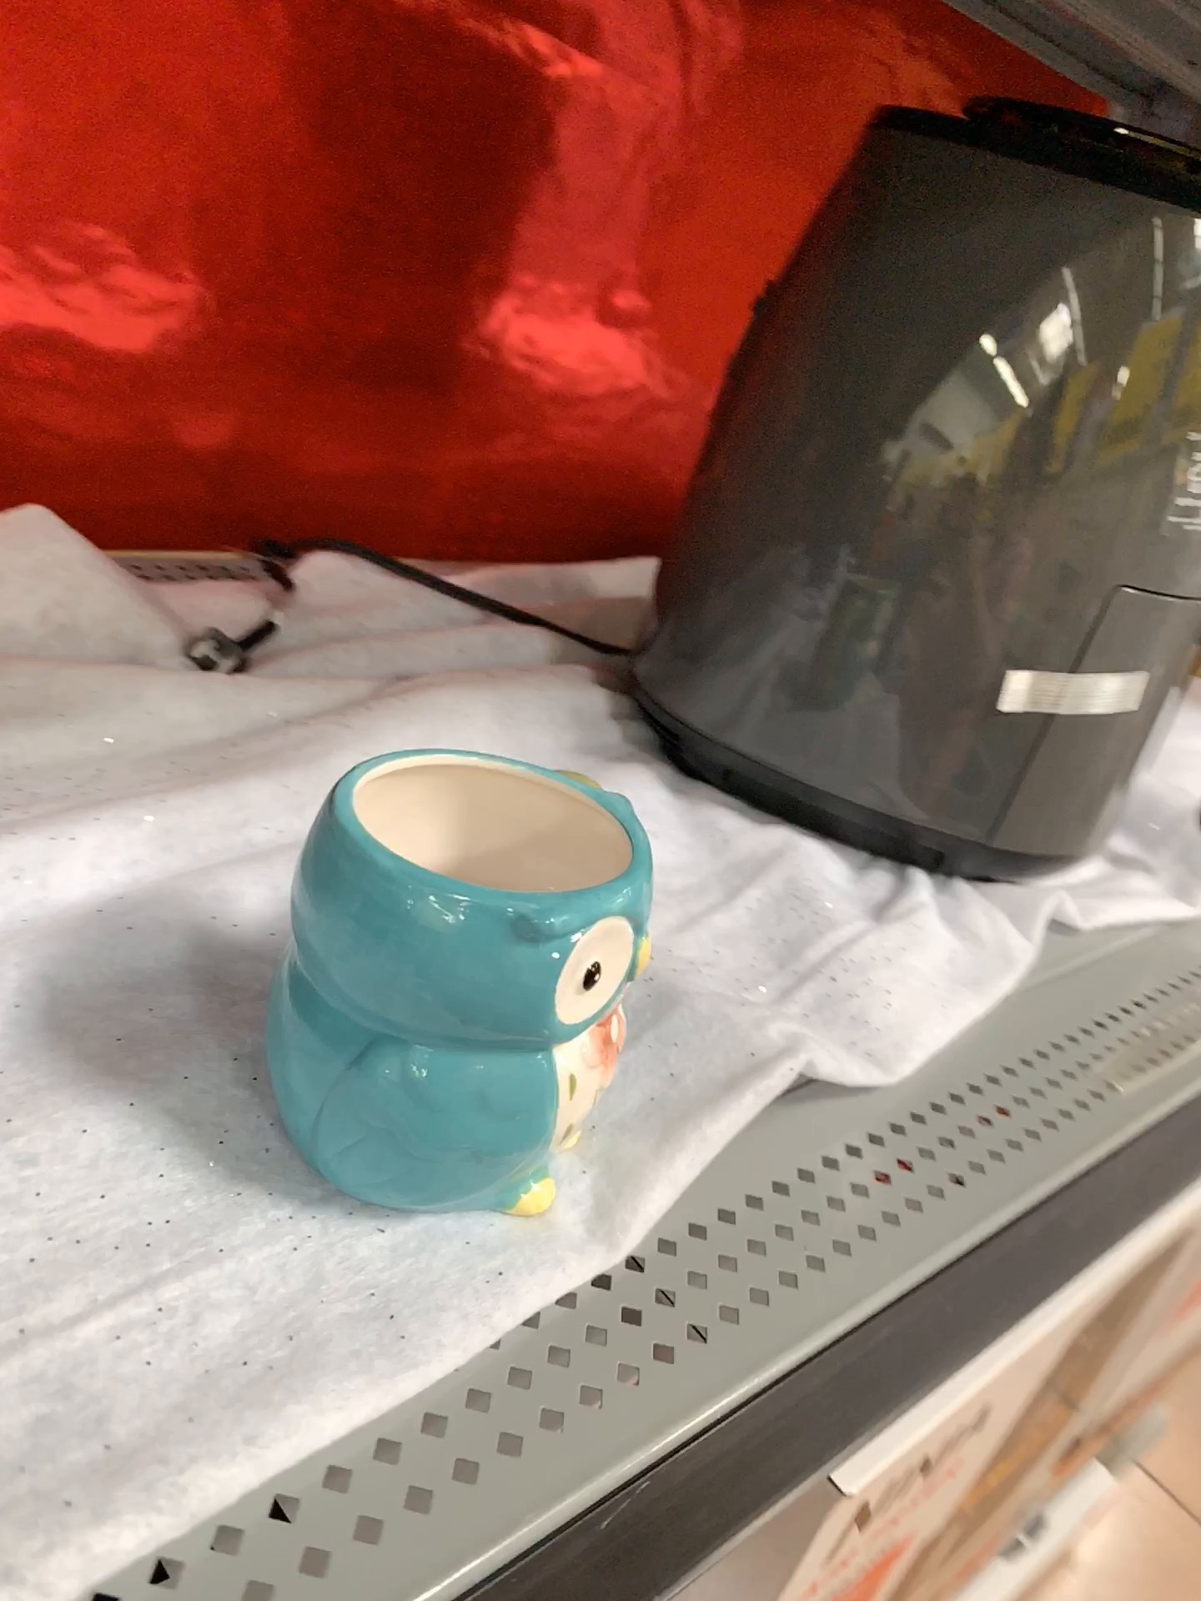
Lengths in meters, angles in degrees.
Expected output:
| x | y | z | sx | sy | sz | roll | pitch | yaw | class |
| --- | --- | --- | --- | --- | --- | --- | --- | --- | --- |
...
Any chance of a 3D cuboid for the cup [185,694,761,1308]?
| x | y | z | sx | sy | sz | roll | pitch | yaw | class |
| --- | --- | --- | --- | --- | --- | --- | --- | --- | --- |
| -0.030 | 0.046 | 0.355 | 0.108 | 0.087 | 0.128 | 22 | 27 | 8 | cup |
